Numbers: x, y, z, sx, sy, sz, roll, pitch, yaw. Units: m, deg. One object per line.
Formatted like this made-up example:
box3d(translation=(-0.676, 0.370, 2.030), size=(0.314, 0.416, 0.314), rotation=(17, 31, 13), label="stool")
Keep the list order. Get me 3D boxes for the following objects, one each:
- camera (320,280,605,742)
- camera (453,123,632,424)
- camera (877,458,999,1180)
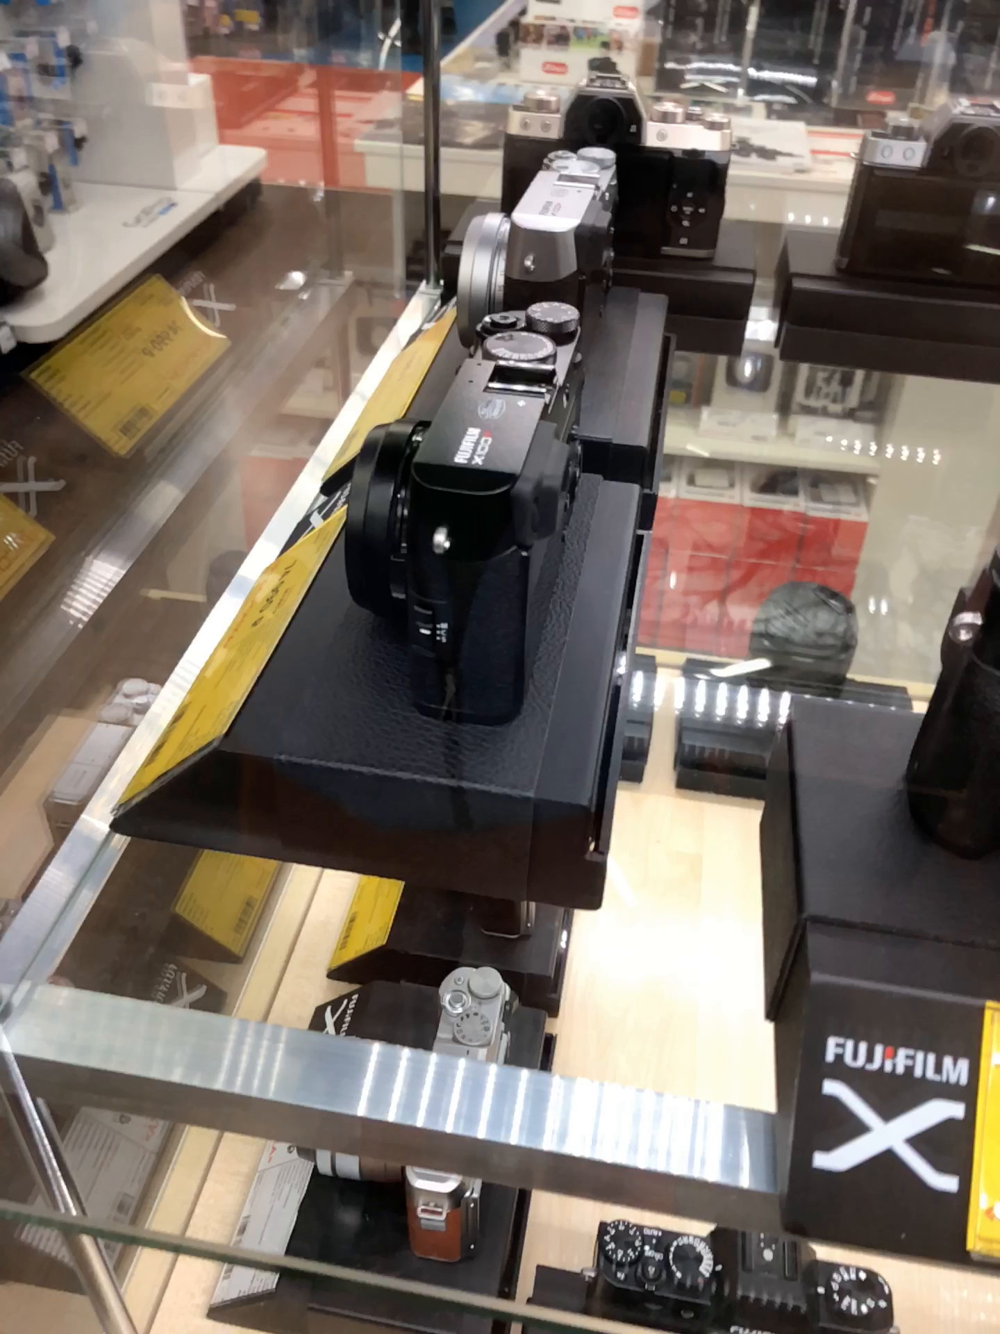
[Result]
box3d(translation=(-0.006, -0.053, 0.327), size=(0.054, 0.075, 0.131), rotation=(8, 38, 6), label="camera")
box3d(translation=(0.020, -0.173, 0.473), size=(0.054, 0.080, 0.131), rotation=(8, 38, 6), label="camera")
box3d(translation=(0.161, 0.024, 0.231), size=(0.130, 0.080, 0.104), rotation=(8, 38, 6), label="camera")
